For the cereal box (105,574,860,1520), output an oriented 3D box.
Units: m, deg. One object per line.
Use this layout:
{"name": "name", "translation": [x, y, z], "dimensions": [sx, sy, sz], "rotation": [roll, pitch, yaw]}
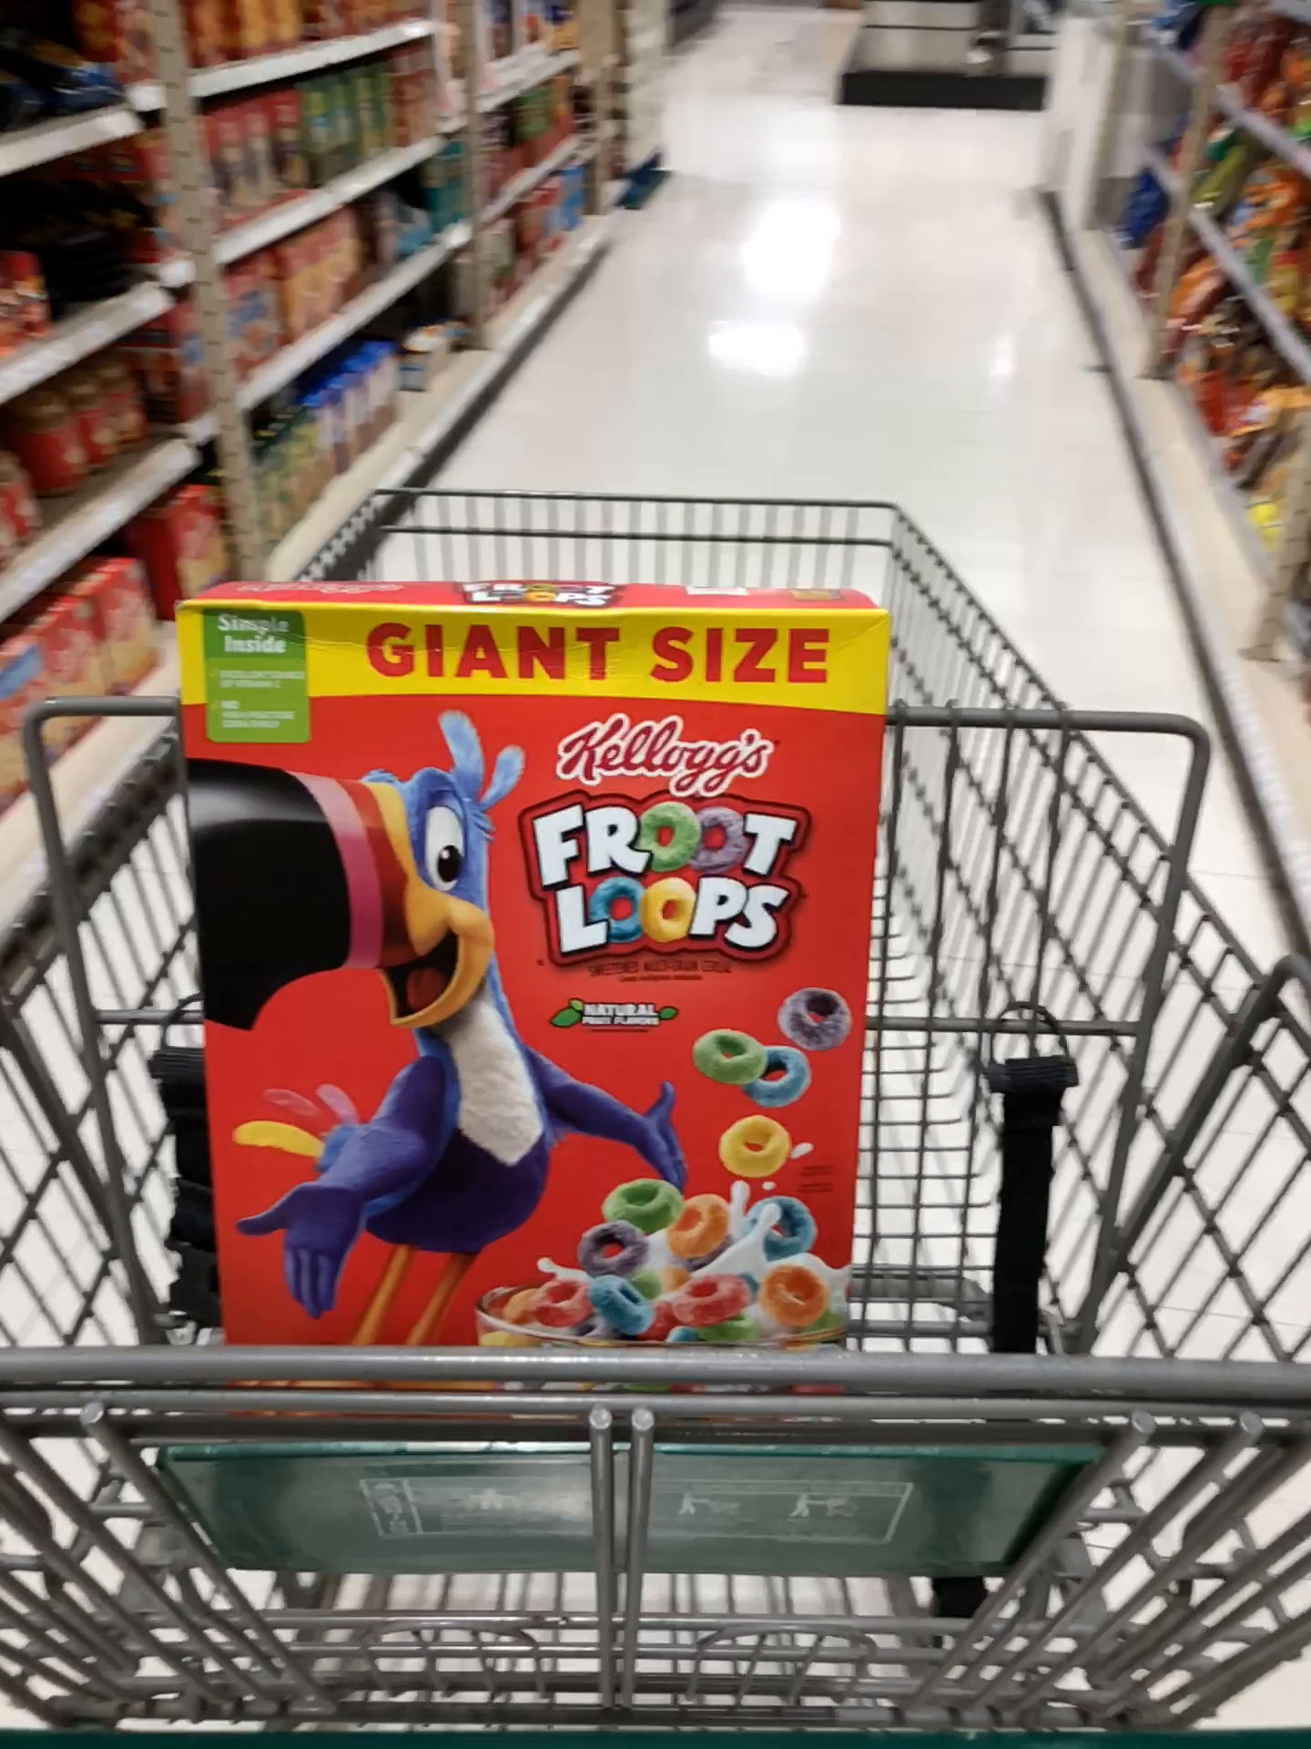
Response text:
{"name": "cereal box", "translation": [-0.065, 0.072, 0.588], "dimensions": [0.260, 0.369, 0.090], "rotation": [1, 14, -2]}
